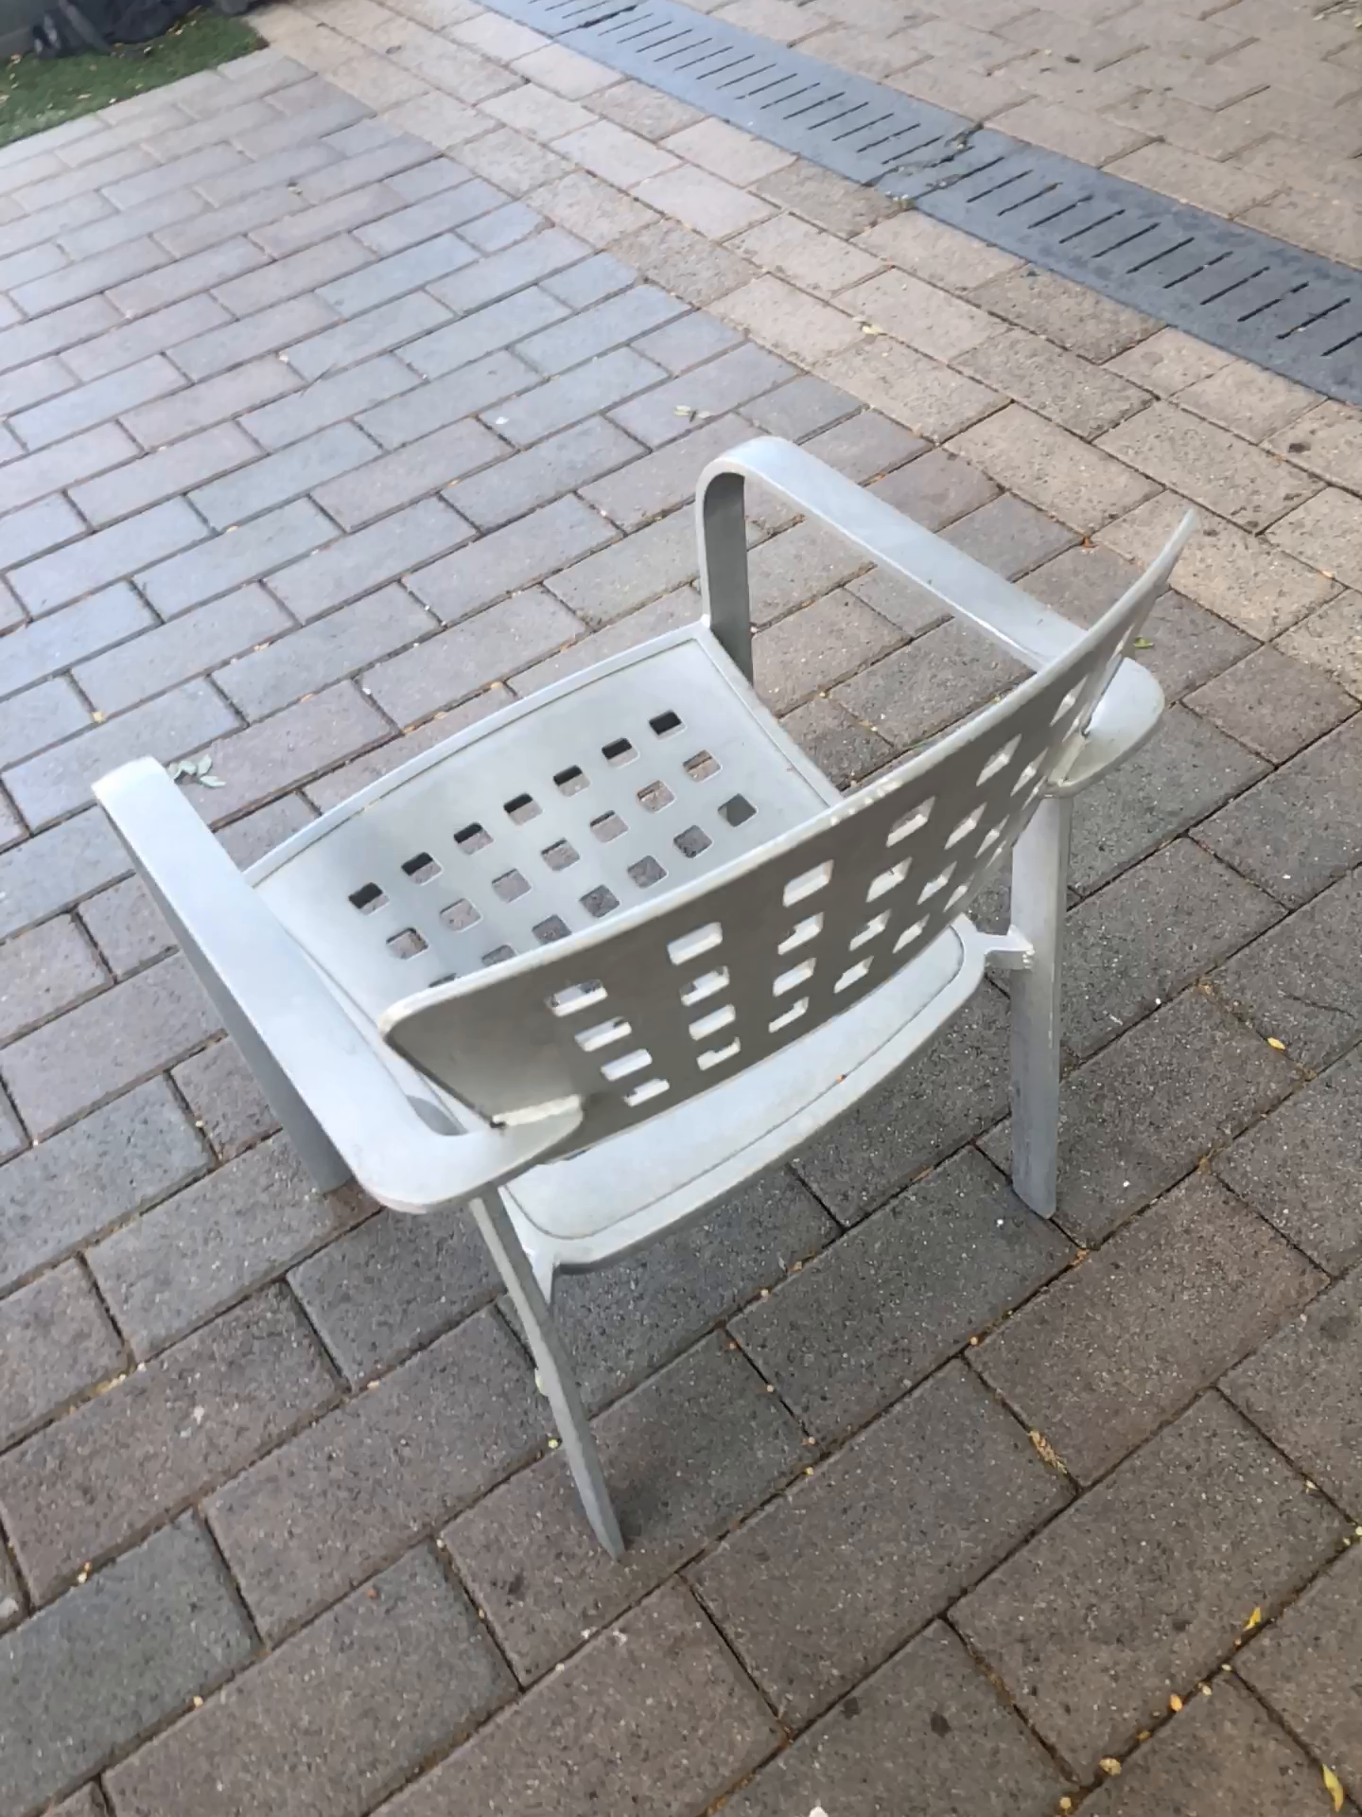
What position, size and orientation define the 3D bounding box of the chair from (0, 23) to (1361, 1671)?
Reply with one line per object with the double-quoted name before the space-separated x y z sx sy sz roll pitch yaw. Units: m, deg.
"chair" -0.056 -0.024 1.056 0.630 0.777 0.592 -33 55 -19
